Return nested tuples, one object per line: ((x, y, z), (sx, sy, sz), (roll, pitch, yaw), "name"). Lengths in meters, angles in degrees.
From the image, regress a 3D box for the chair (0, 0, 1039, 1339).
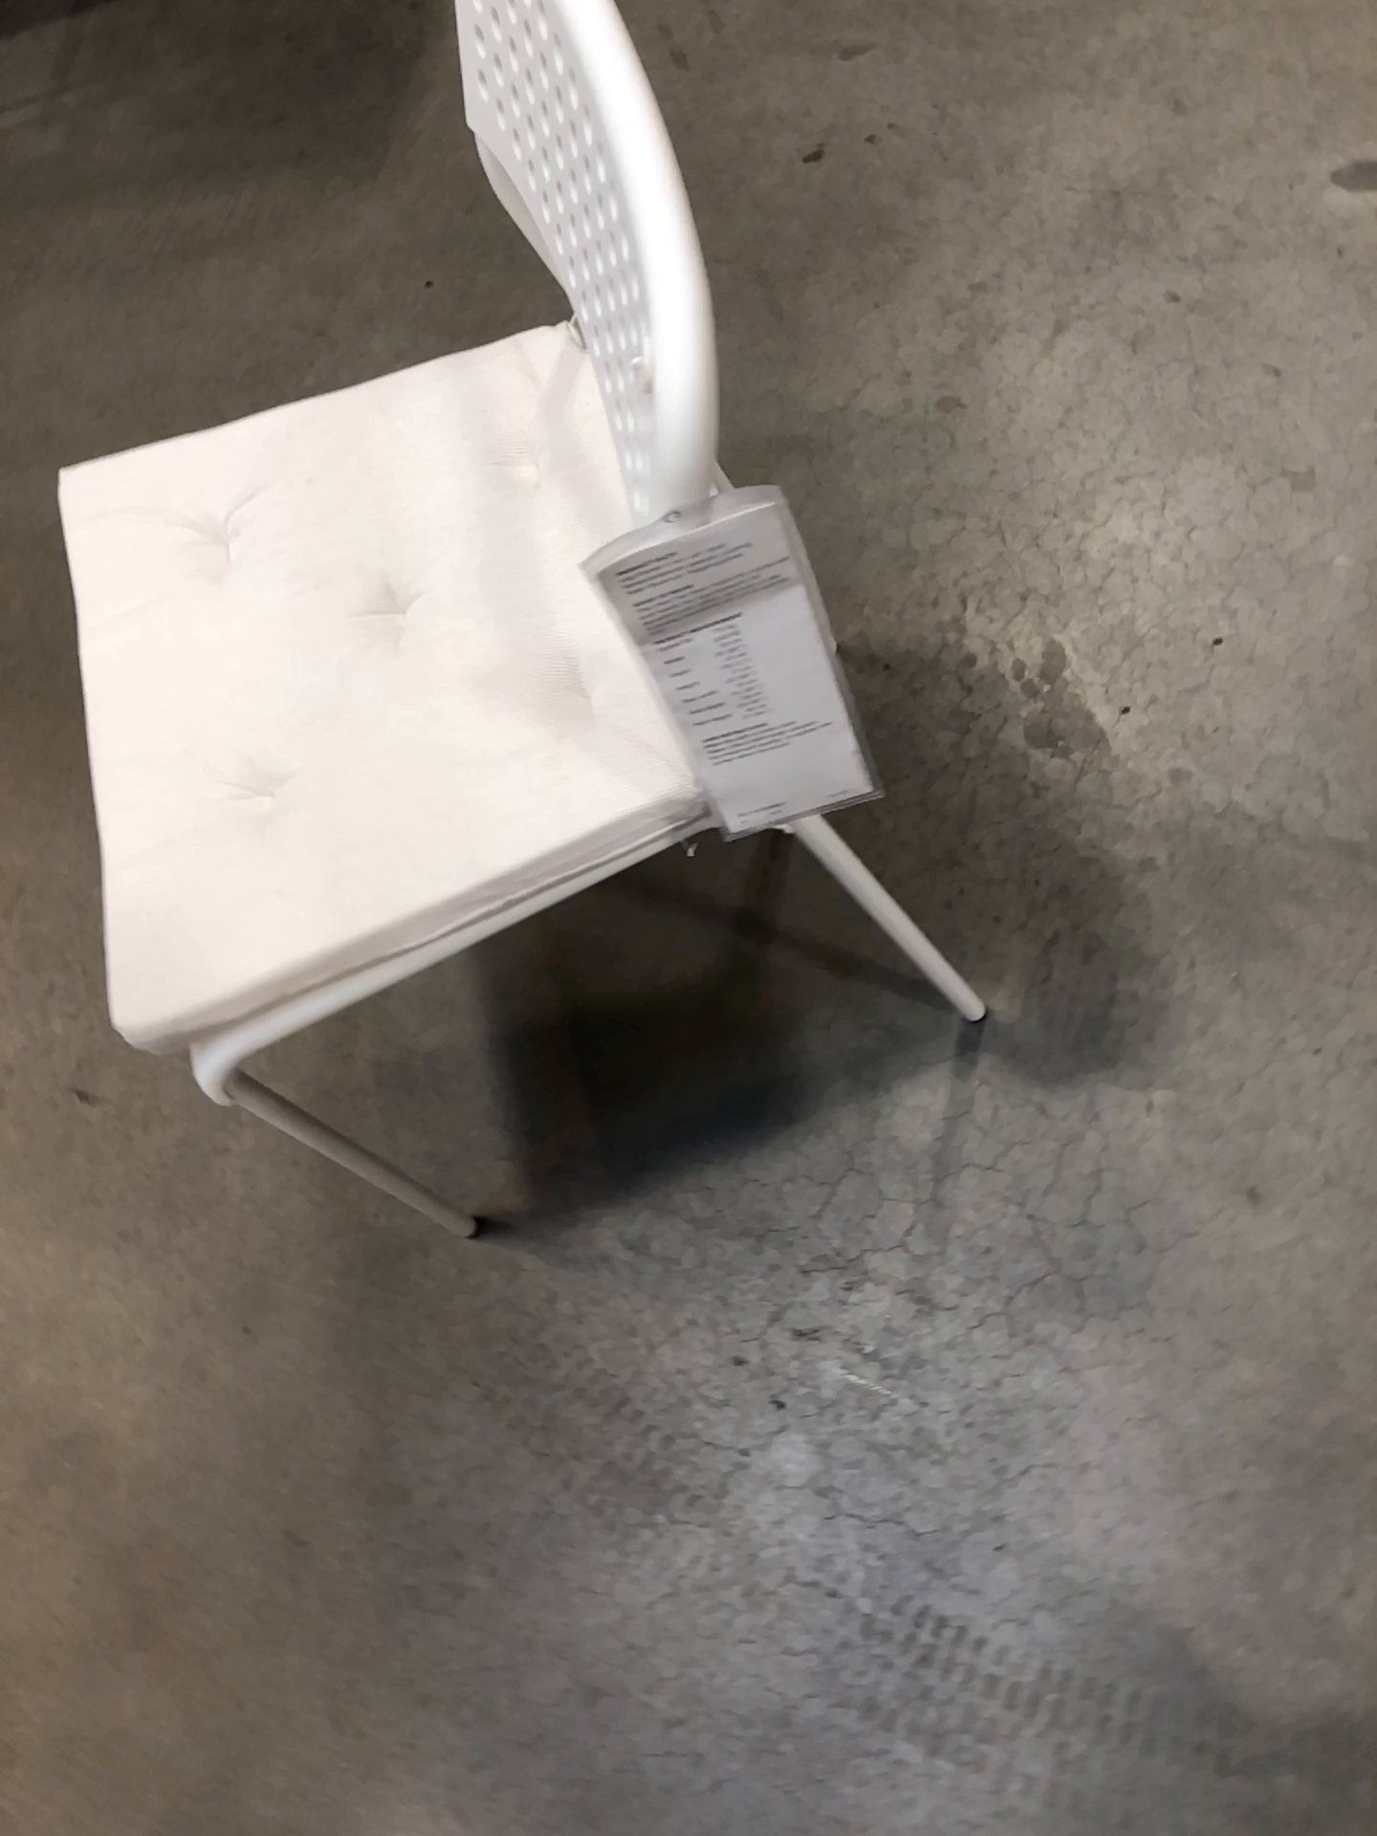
((-0.159, -0.104, 0.935), (0.530, 0.739, 0.481), (-24, 65, 8), "chair")
